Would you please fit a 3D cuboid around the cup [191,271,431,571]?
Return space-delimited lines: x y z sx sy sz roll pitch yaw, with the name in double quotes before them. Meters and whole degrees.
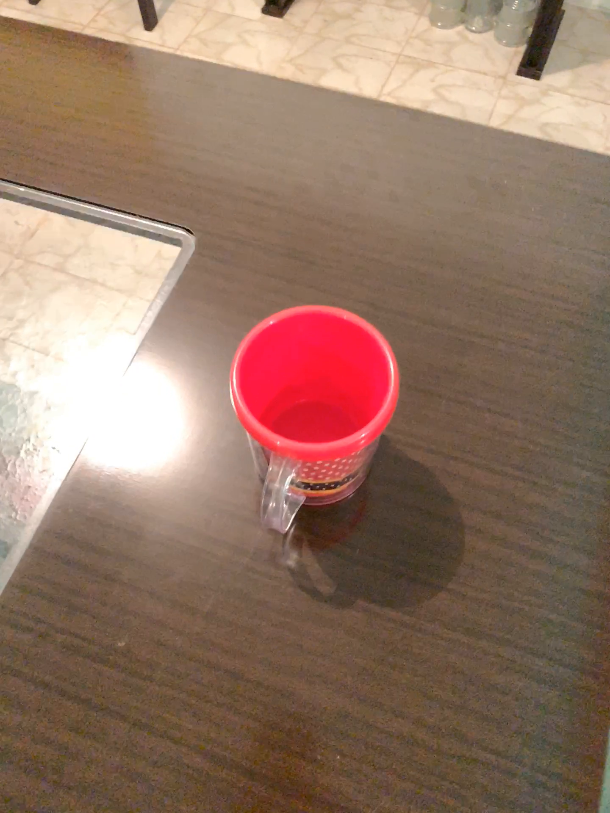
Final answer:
"cup" 0.008 0.012 0.365 0.090 0.110 0.120 15 63 9
